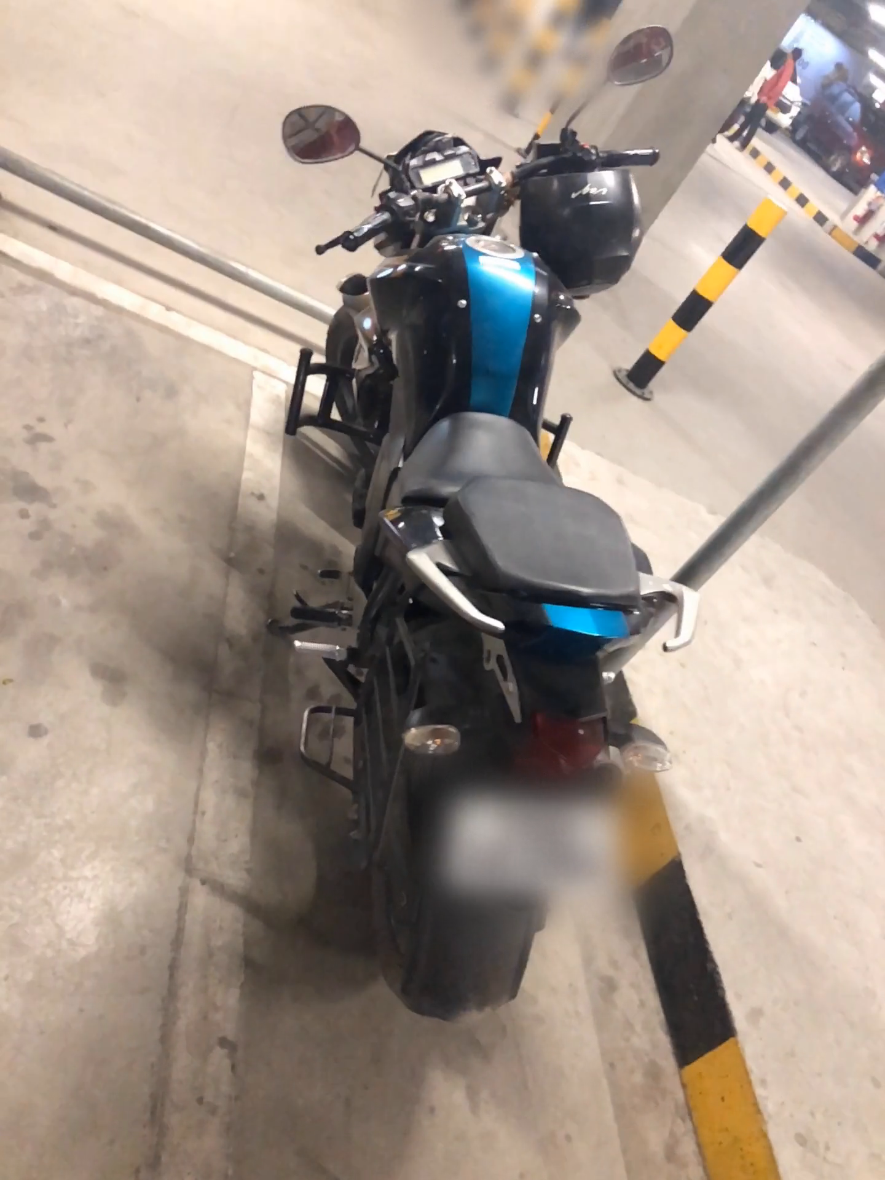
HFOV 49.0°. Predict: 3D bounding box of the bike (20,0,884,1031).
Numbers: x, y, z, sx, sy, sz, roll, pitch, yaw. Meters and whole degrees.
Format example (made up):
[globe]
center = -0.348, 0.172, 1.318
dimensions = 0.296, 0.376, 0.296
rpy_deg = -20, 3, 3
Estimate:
[bike]
center = -0.063, -0.250, 1.579
dimensions = 0.768, 0.951, 1.418
rpy_deg = 17, 38, -27
